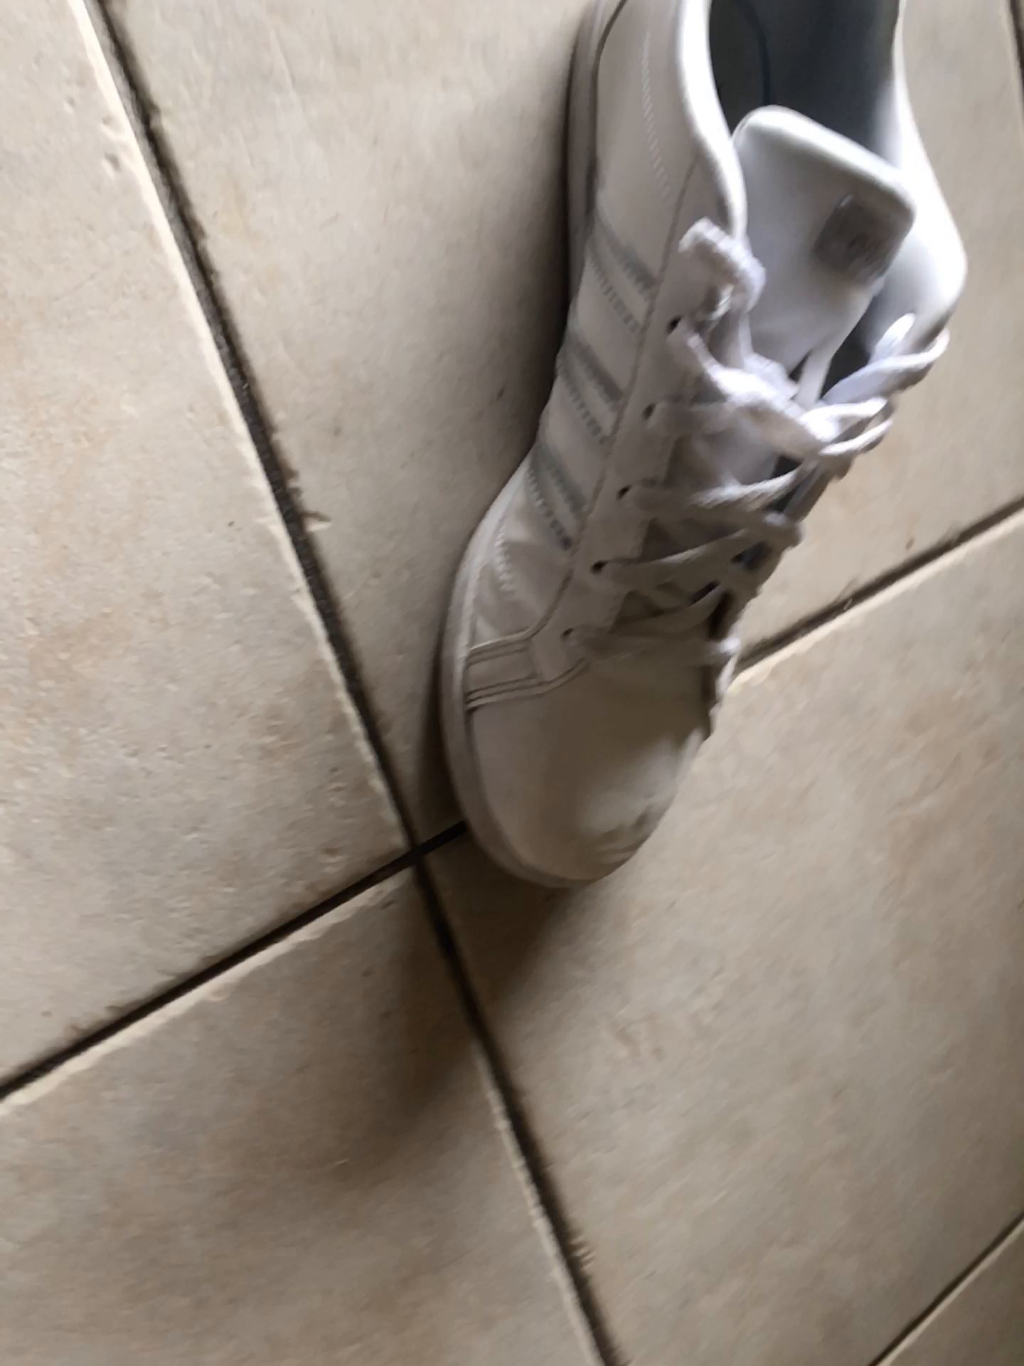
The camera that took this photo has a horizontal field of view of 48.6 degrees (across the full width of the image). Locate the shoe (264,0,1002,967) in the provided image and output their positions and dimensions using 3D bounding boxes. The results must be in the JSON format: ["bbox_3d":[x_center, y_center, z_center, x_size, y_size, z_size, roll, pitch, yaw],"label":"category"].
[{"bbox_3d":[0.021,-0.081,0.274,0.090,0.099,0.270,8,94,-32],"label":"shoe"}]
